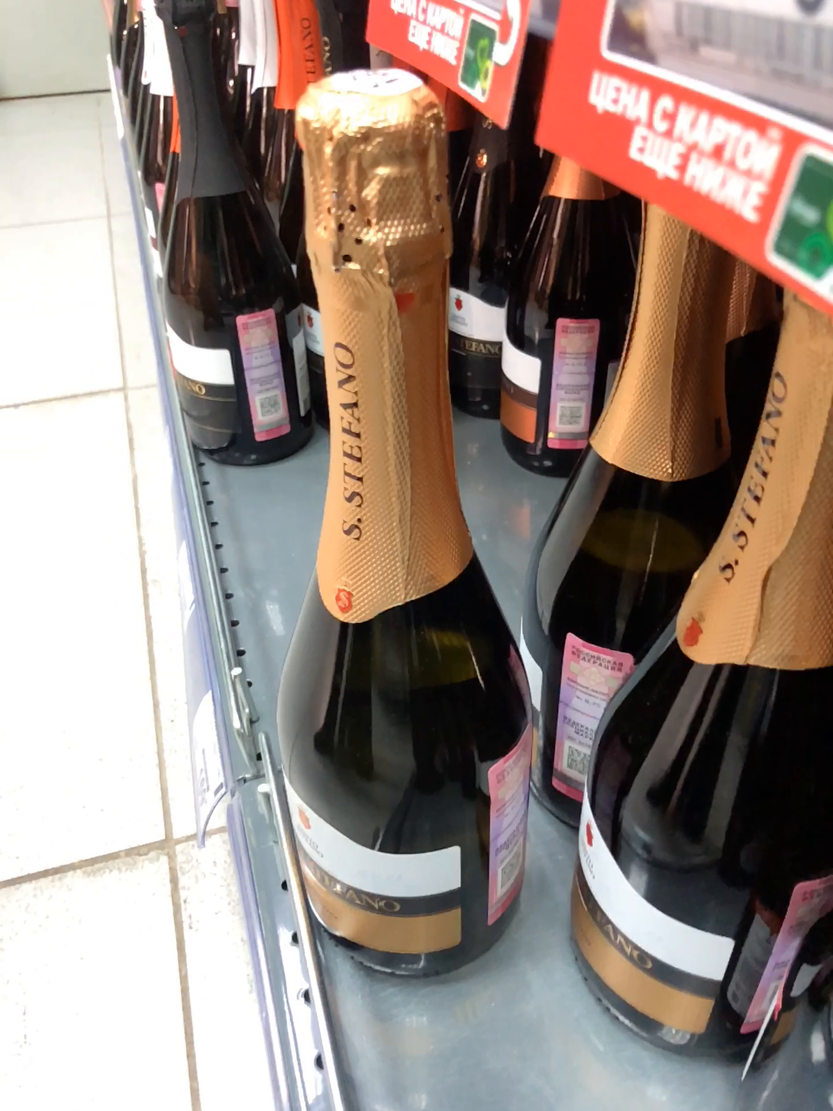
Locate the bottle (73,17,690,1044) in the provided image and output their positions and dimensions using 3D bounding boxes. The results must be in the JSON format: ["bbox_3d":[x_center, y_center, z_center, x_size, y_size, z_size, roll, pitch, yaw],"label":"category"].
[{"bbox_3d":[-0.006,0.013,0.289,0.090,0.298,0.100,-28,45,-30],"label":"bottle"}]
